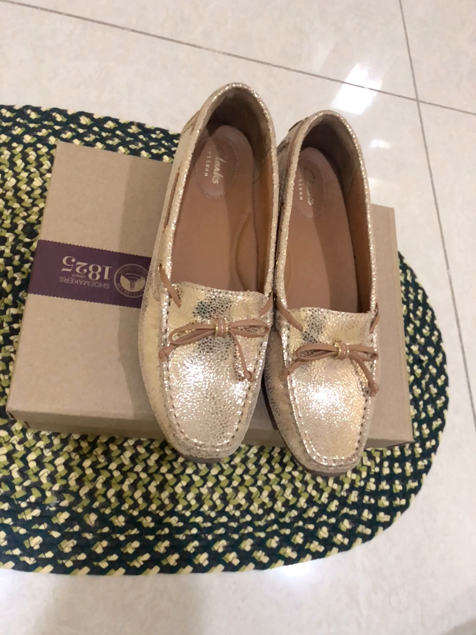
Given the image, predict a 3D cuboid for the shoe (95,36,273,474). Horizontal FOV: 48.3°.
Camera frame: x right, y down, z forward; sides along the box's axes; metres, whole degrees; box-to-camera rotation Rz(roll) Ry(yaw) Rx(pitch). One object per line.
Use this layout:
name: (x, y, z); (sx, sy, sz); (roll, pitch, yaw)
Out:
shoe: (-0.031, -0.046, 0.351); (0.090, 0.060, 0.280); (7, 68, -16)

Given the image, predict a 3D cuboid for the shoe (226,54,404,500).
shoe: (0.046, -0.035, 0.378); (0.090, 0.060, 0.310); (7, 68, -16)
